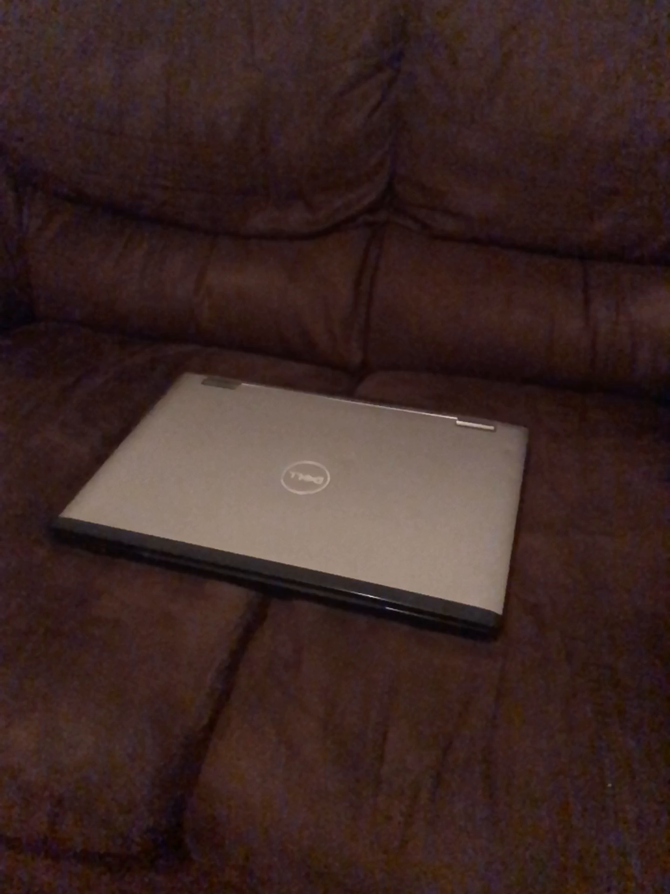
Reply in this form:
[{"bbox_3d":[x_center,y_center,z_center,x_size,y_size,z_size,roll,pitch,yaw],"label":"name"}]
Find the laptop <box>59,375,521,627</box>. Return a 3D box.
[{"bbox_3d":[-0.023,0.027,0.691,0.370,0.002,0.261,10,38,12],"label":"laptop"}]
